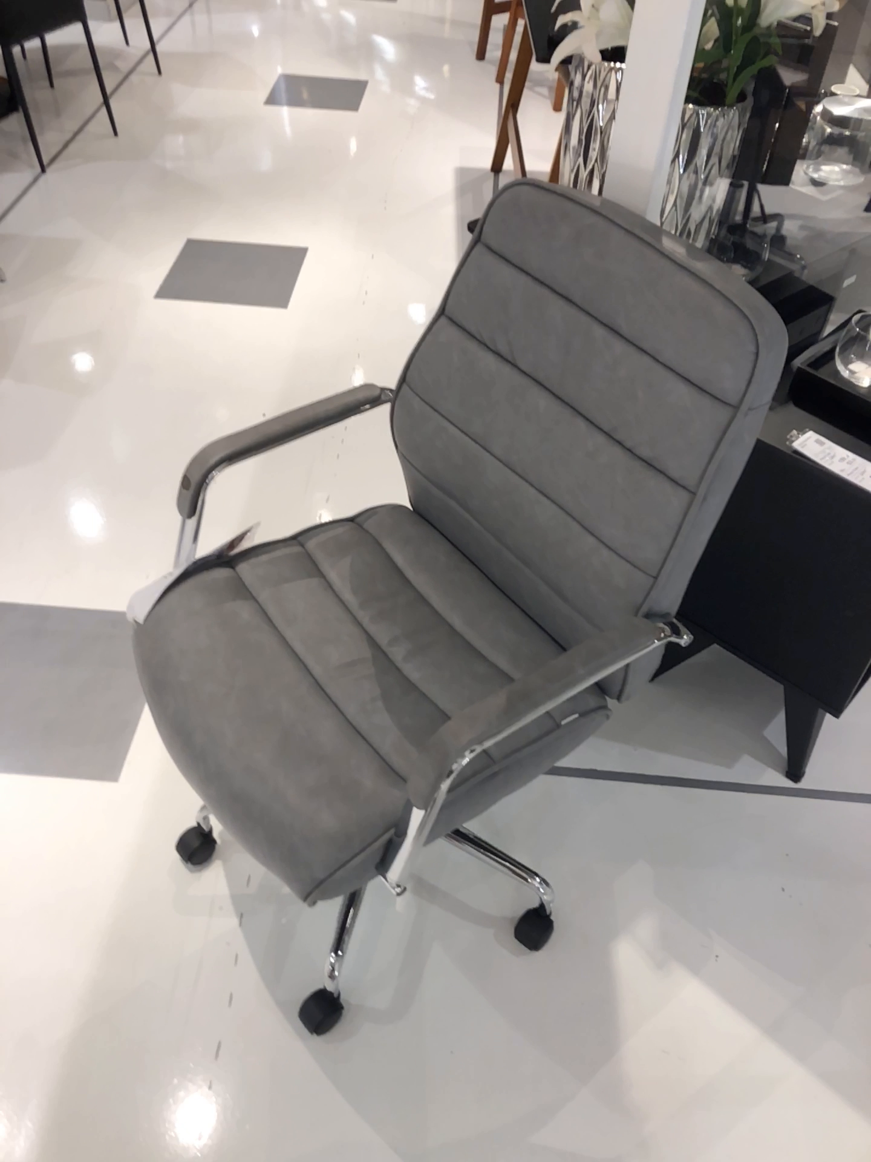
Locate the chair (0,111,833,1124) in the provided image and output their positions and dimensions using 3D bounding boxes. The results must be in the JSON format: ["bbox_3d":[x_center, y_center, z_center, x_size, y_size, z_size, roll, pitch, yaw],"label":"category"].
[{"bbox_3d":[-0.088,0.076,1.197,0.551,0.993,0.603,-24,51,-25],"label":"chair"}]
